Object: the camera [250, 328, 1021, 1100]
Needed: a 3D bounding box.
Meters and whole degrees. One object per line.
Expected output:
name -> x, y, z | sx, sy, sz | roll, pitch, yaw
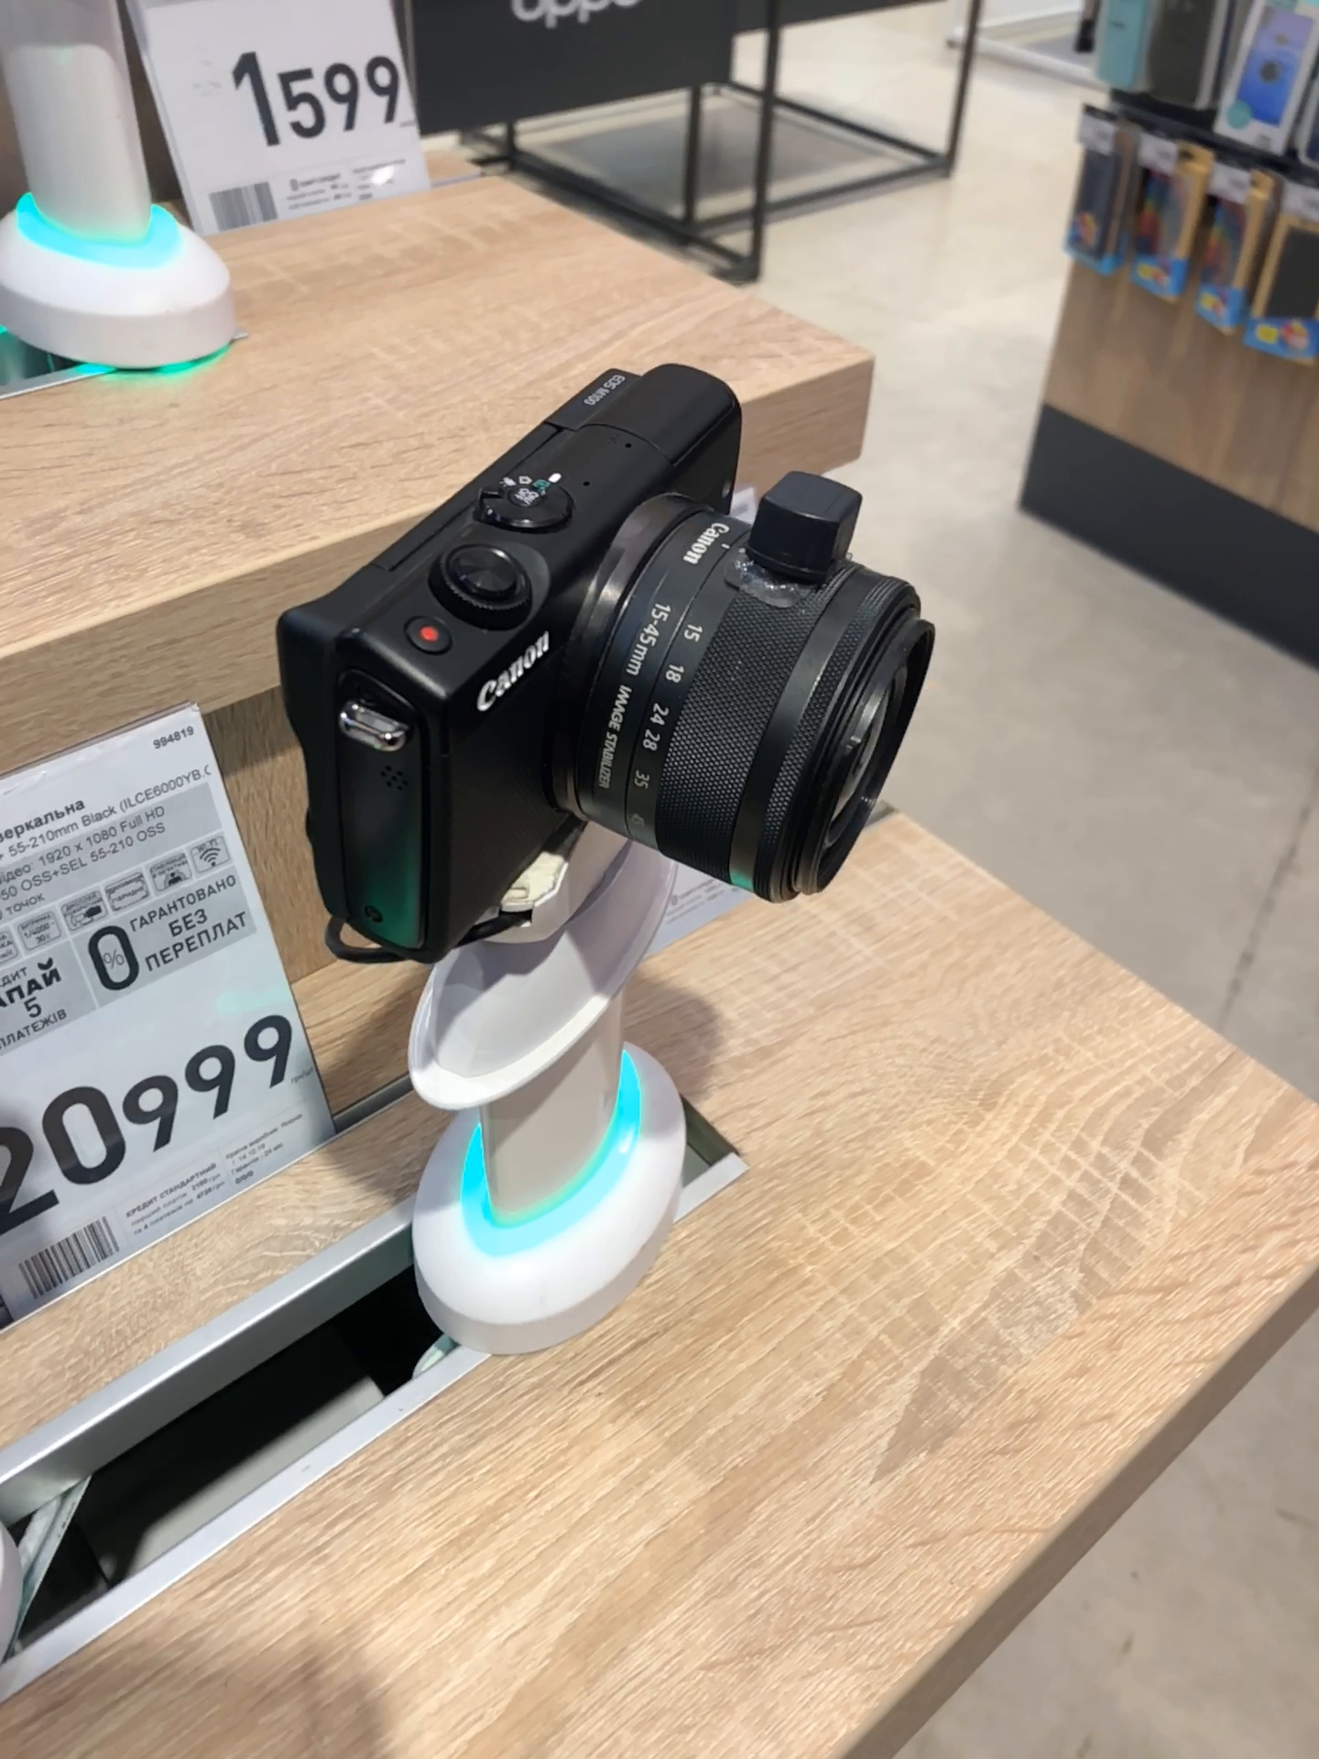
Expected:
camera -> 0.001, -0.036, 0.252 | 0.082, 0.060, 0.112 | 21, 45, 15
